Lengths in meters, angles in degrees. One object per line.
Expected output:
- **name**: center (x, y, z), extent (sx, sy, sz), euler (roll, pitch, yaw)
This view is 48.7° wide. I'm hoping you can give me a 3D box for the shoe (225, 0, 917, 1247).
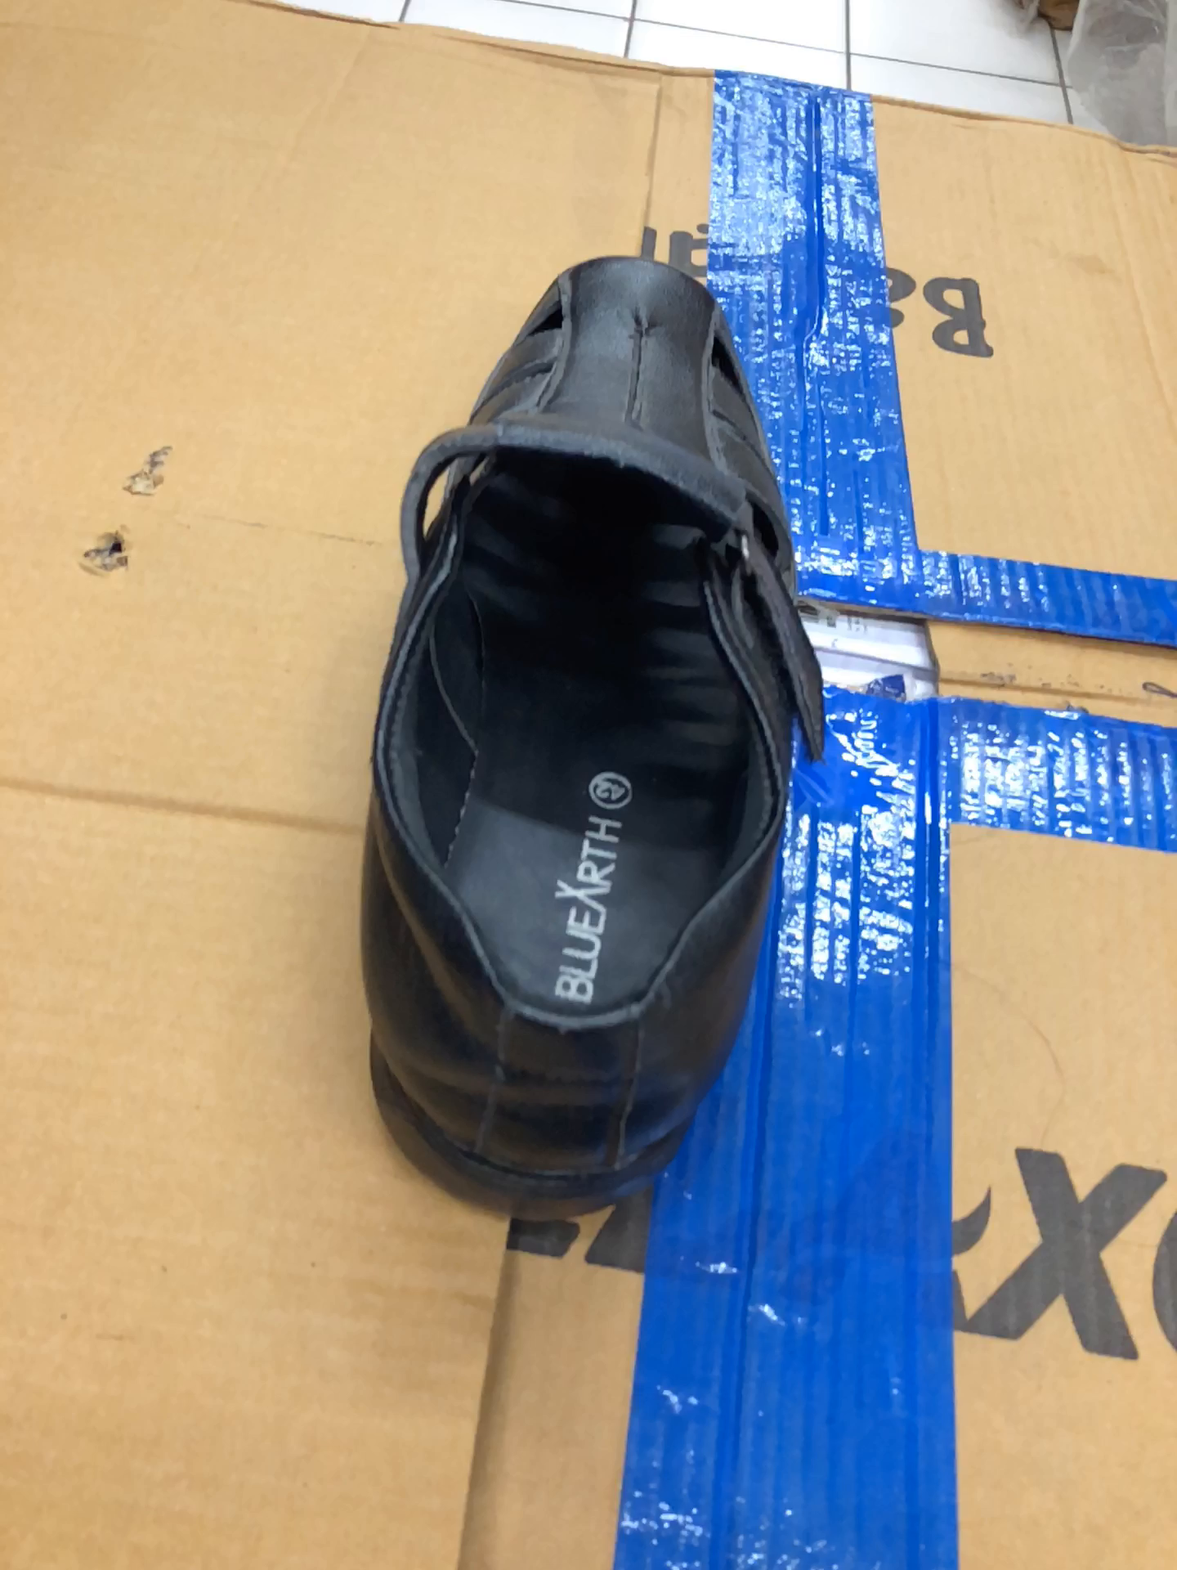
- **shoe**: center (0.005, -0.061, 0.313), extent (0.100, 0.100, 0.301), euler (7, 55, -2)
